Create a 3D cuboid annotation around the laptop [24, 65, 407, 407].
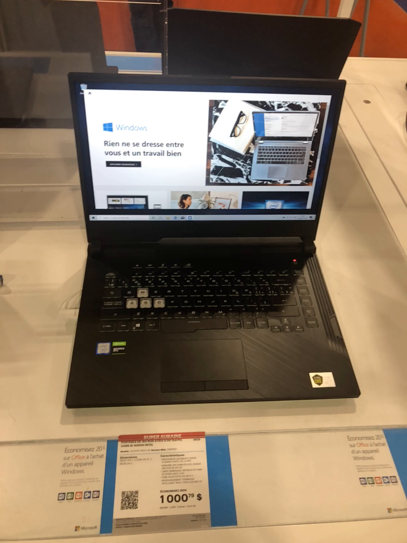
[{"bbox_3d":[0.015,-0.060,0.580,0.363,0.236,0.346,-1,51,-5],"label":"laptop"}]
